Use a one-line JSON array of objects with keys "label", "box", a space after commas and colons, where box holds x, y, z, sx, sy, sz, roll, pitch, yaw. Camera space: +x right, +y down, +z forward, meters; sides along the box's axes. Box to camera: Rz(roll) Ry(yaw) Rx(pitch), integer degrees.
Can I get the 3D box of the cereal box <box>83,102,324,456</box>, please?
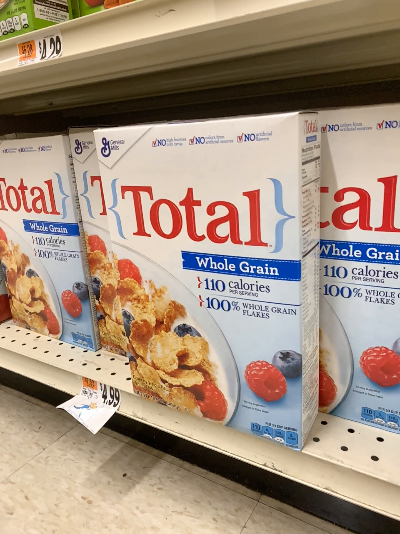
[{"label": "cereal box", "box": [0.004, 0.009, 0.376, 0.200, 0.279, 0.050, 7, 22, 32]}]
